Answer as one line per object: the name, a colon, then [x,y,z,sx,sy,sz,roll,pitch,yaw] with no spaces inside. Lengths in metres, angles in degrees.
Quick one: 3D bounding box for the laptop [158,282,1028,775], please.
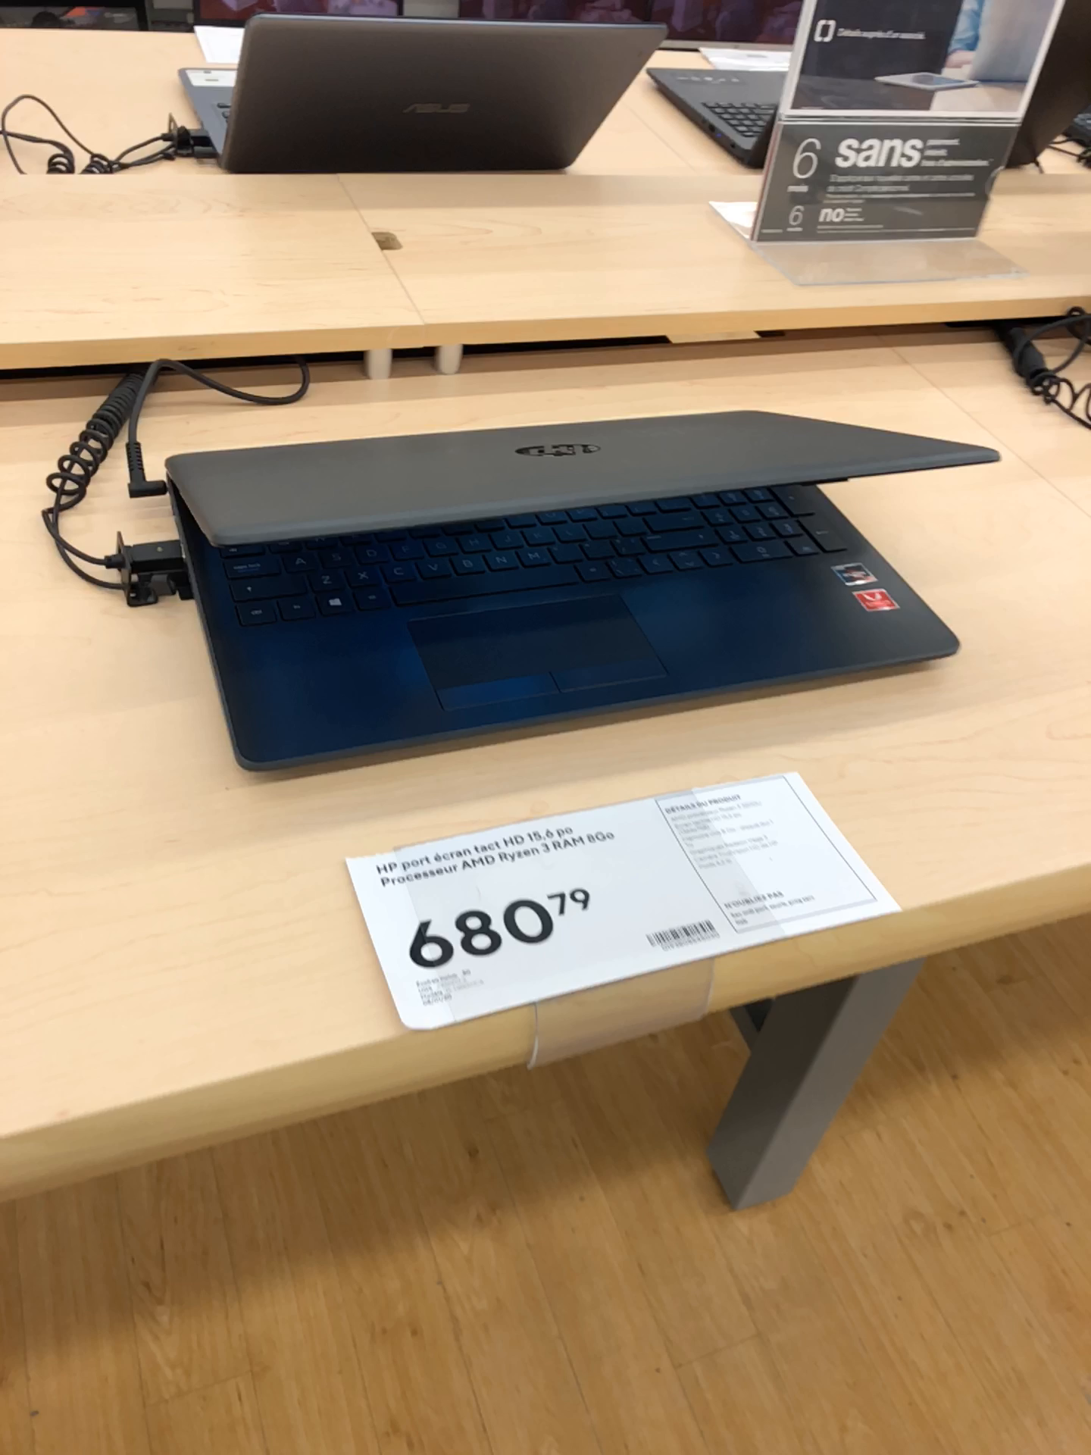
laptop: [0.012,-0.125,0.607,0.366,0.090,0.243,-10,46,-21]
